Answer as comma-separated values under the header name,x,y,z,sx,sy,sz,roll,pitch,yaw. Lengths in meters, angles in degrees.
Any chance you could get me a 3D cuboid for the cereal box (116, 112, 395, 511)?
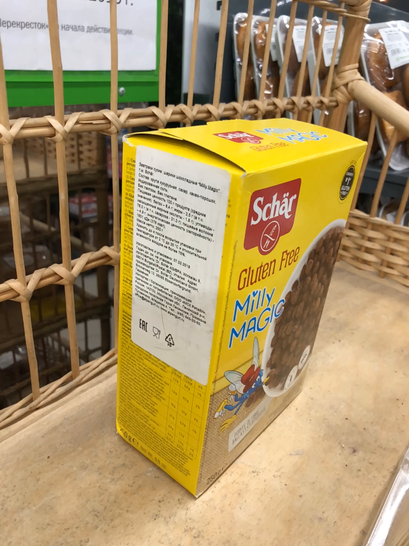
name,x,y,z,sx,sy,sz,roll,pitch,yaw
cereal box,0.031,0.013,0.306,0.080,0.209,0.161,26,33,32
